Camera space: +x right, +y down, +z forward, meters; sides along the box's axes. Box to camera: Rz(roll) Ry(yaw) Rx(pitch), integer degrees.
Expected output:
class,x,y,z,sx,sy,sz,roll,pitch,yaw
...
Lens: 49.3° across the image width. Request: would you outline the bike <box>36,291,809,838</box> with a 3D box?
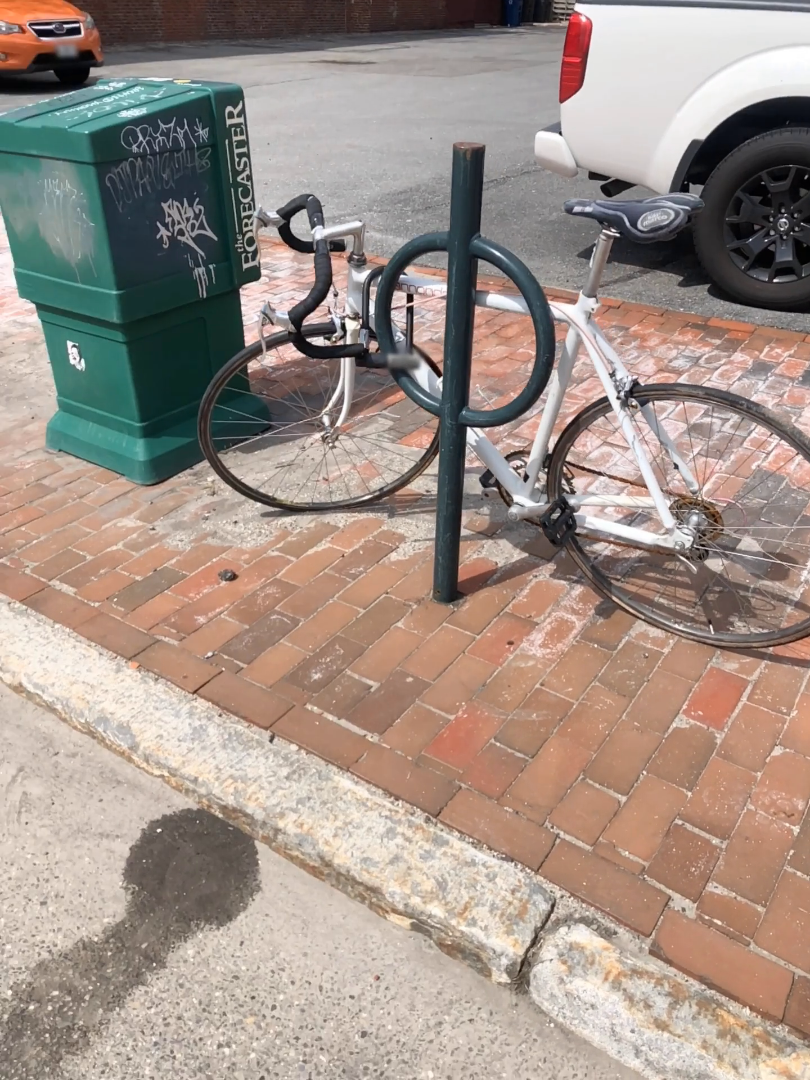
class,x,y,z,sx,sy,sz,roll,pitch,yaw
bike,0.092,-0.030,1.578,1.274,0.650,0.467,11,33,23
